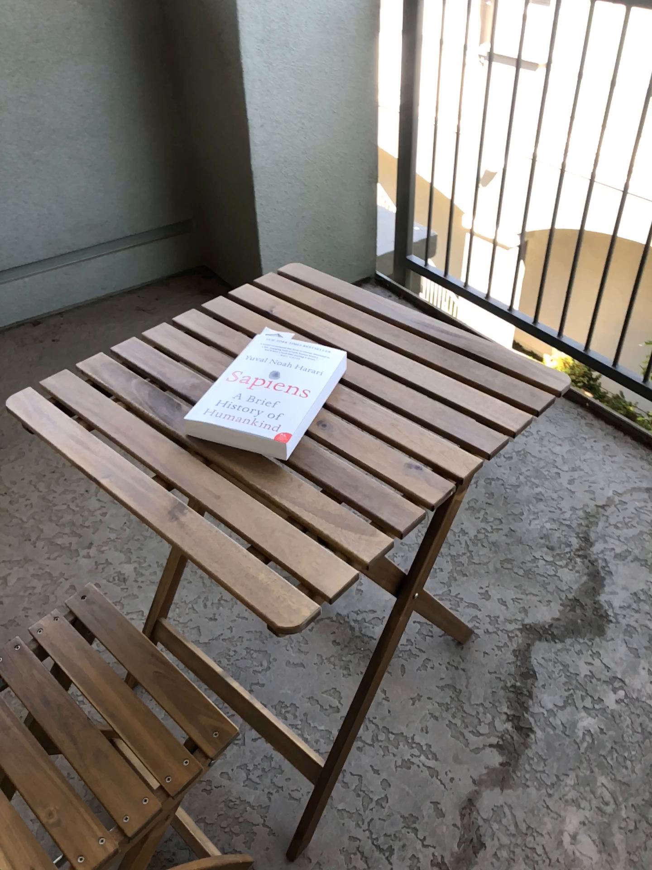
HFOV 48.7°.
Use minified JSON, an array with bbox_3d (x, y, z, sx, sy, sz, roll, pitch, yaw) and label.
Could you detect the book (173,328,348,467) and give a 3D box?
[{"bbox_3d":[-0.085,-0.063,1.036,0.160,0.040,0.241,13,42,17],"label":"book"}]
